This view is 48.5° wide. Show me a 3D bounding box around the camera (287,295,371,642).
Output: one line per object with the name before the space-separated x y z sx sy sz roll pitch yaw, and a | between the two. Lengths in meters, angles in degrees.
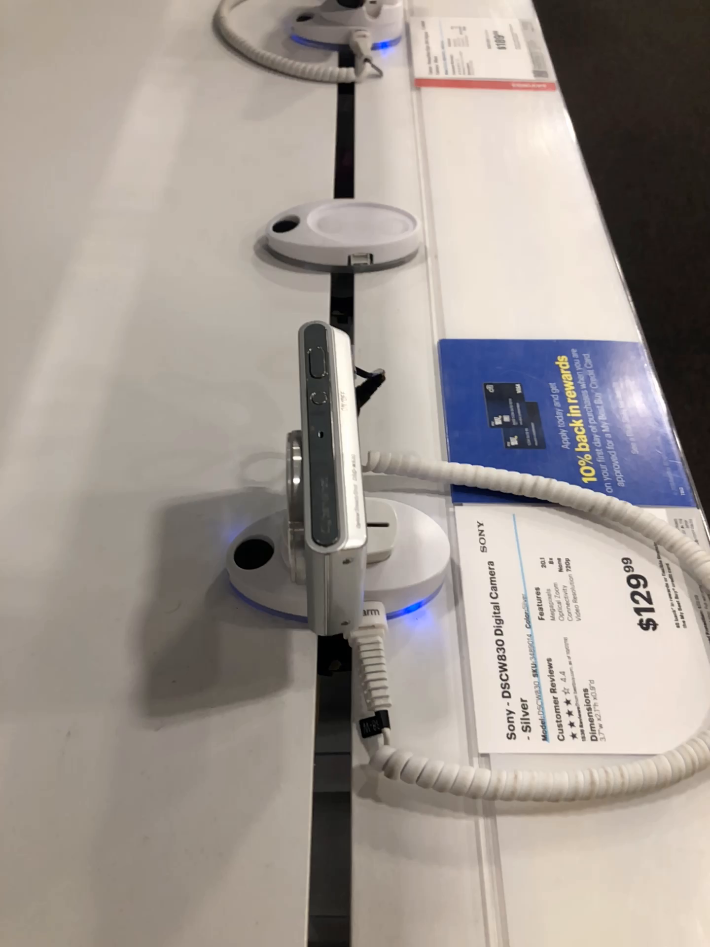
camera | -0.009 -0.002 0.261 0.020 0.070 0.090 -3 51 -3
